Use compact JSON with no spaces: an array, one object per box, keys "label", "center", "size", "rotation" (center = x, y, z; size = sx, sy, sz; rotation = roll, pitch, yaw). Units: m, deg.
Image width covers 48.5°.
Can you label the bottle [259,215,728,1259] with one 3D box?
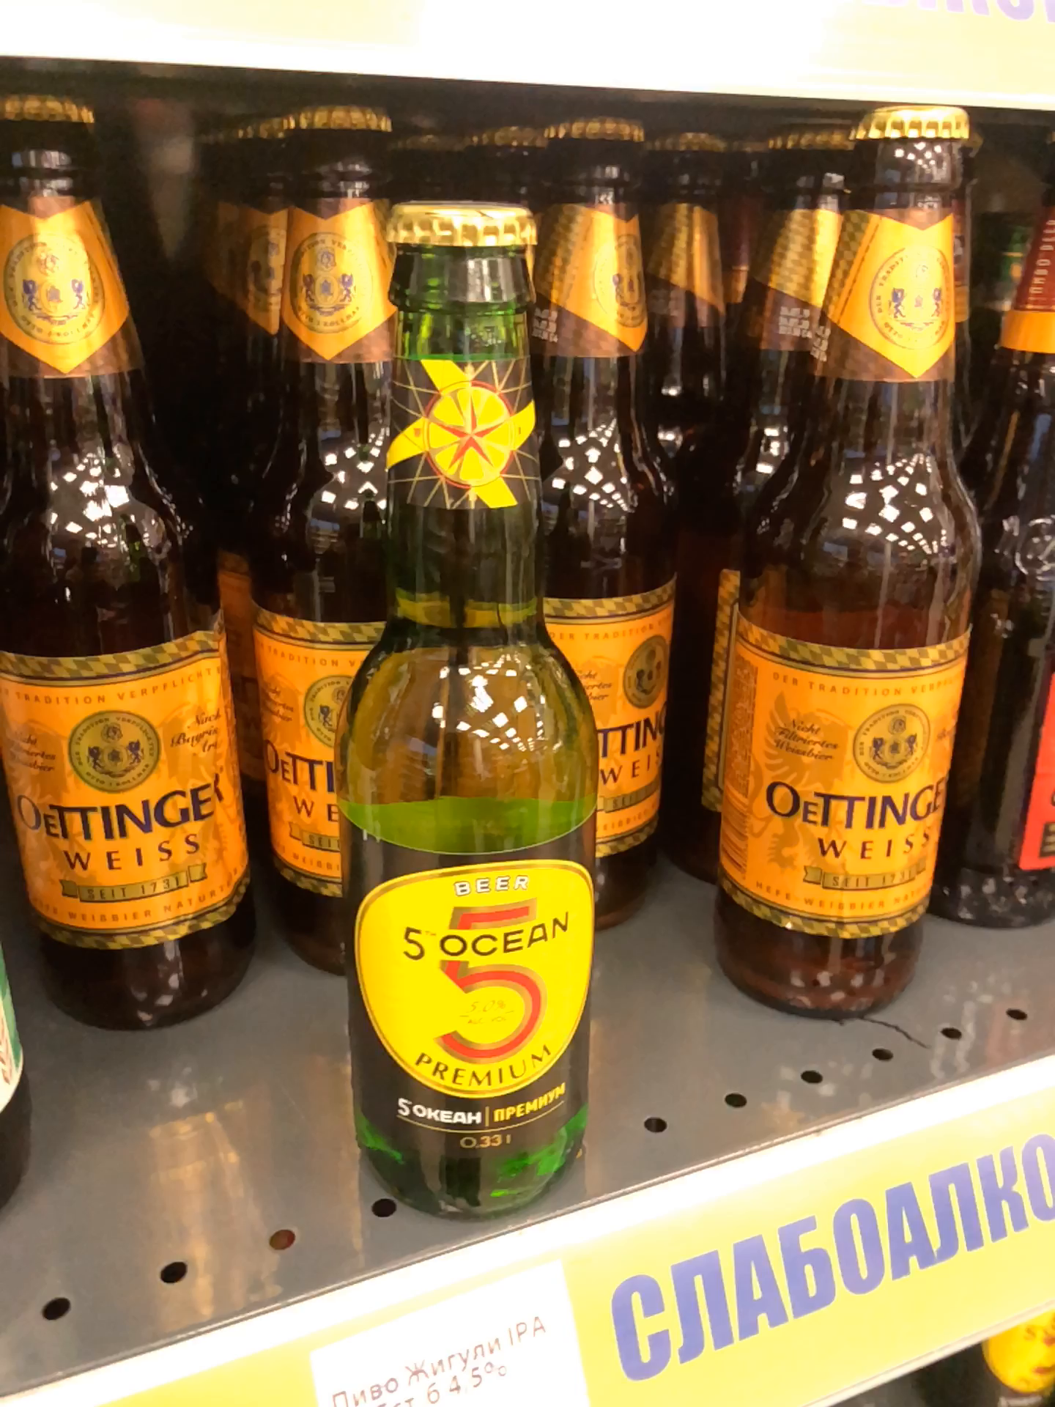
[{"label":"bottle","center":[-0.012,0.009,0.255],"size":[0.070,0.210,0.070],"rotation":[1,24,0]}]
